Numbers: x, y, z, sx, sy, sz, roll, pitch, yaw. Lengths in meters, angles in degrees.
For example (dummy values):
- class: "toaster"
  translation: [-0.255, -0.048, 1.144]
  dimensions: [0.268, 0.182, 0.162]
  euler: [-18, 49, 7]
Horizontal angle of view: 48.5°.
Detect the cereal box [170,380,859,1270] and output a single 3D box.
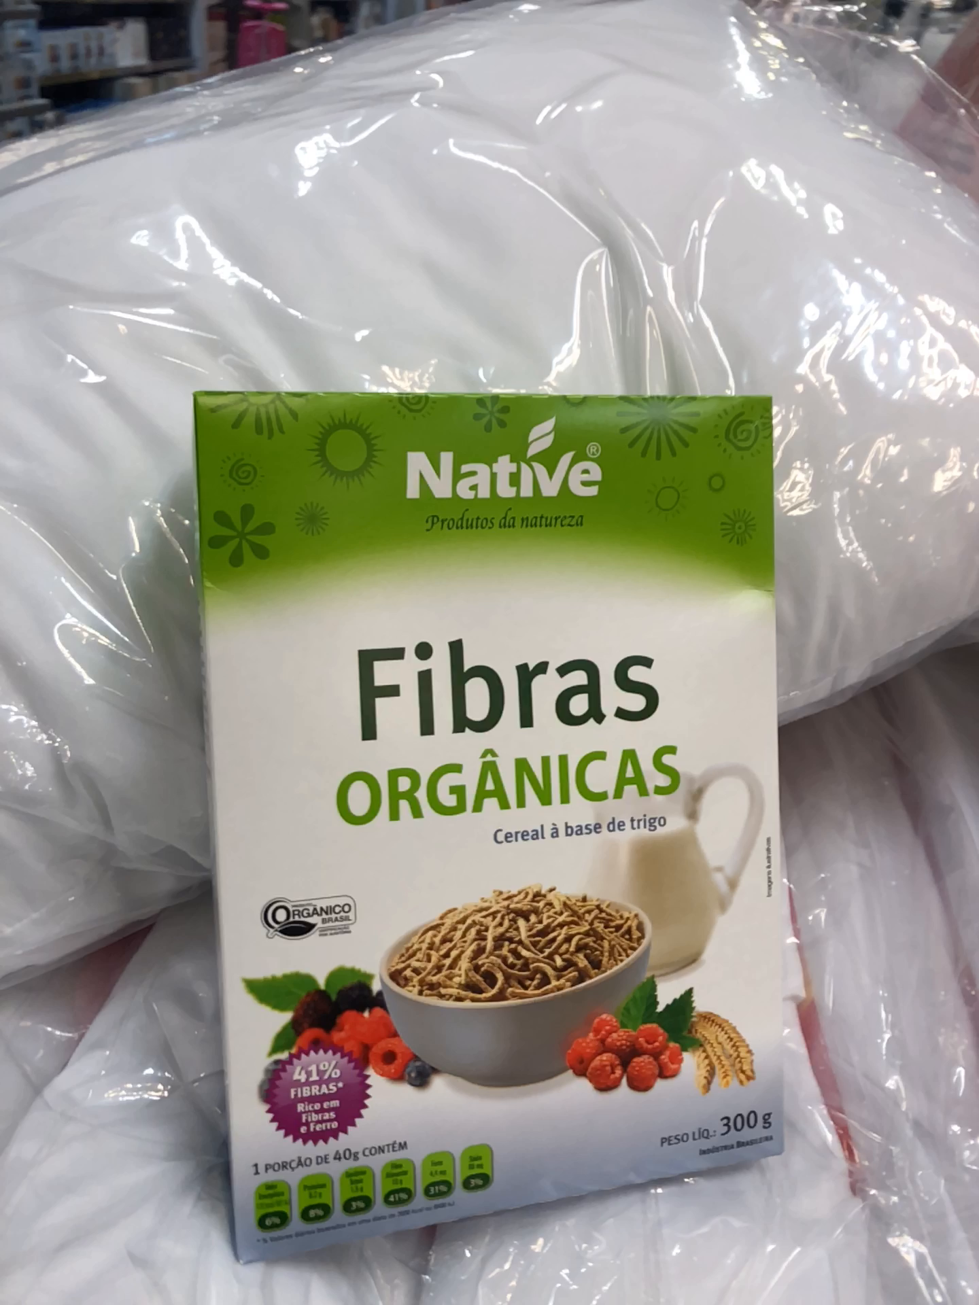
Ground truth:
- class: "cereal box"
  translation: [0.010, 0.040, 0.328]
  dimensions: [0.190, 0.230, 0.060]
  euler: [-3, 5, -14]
